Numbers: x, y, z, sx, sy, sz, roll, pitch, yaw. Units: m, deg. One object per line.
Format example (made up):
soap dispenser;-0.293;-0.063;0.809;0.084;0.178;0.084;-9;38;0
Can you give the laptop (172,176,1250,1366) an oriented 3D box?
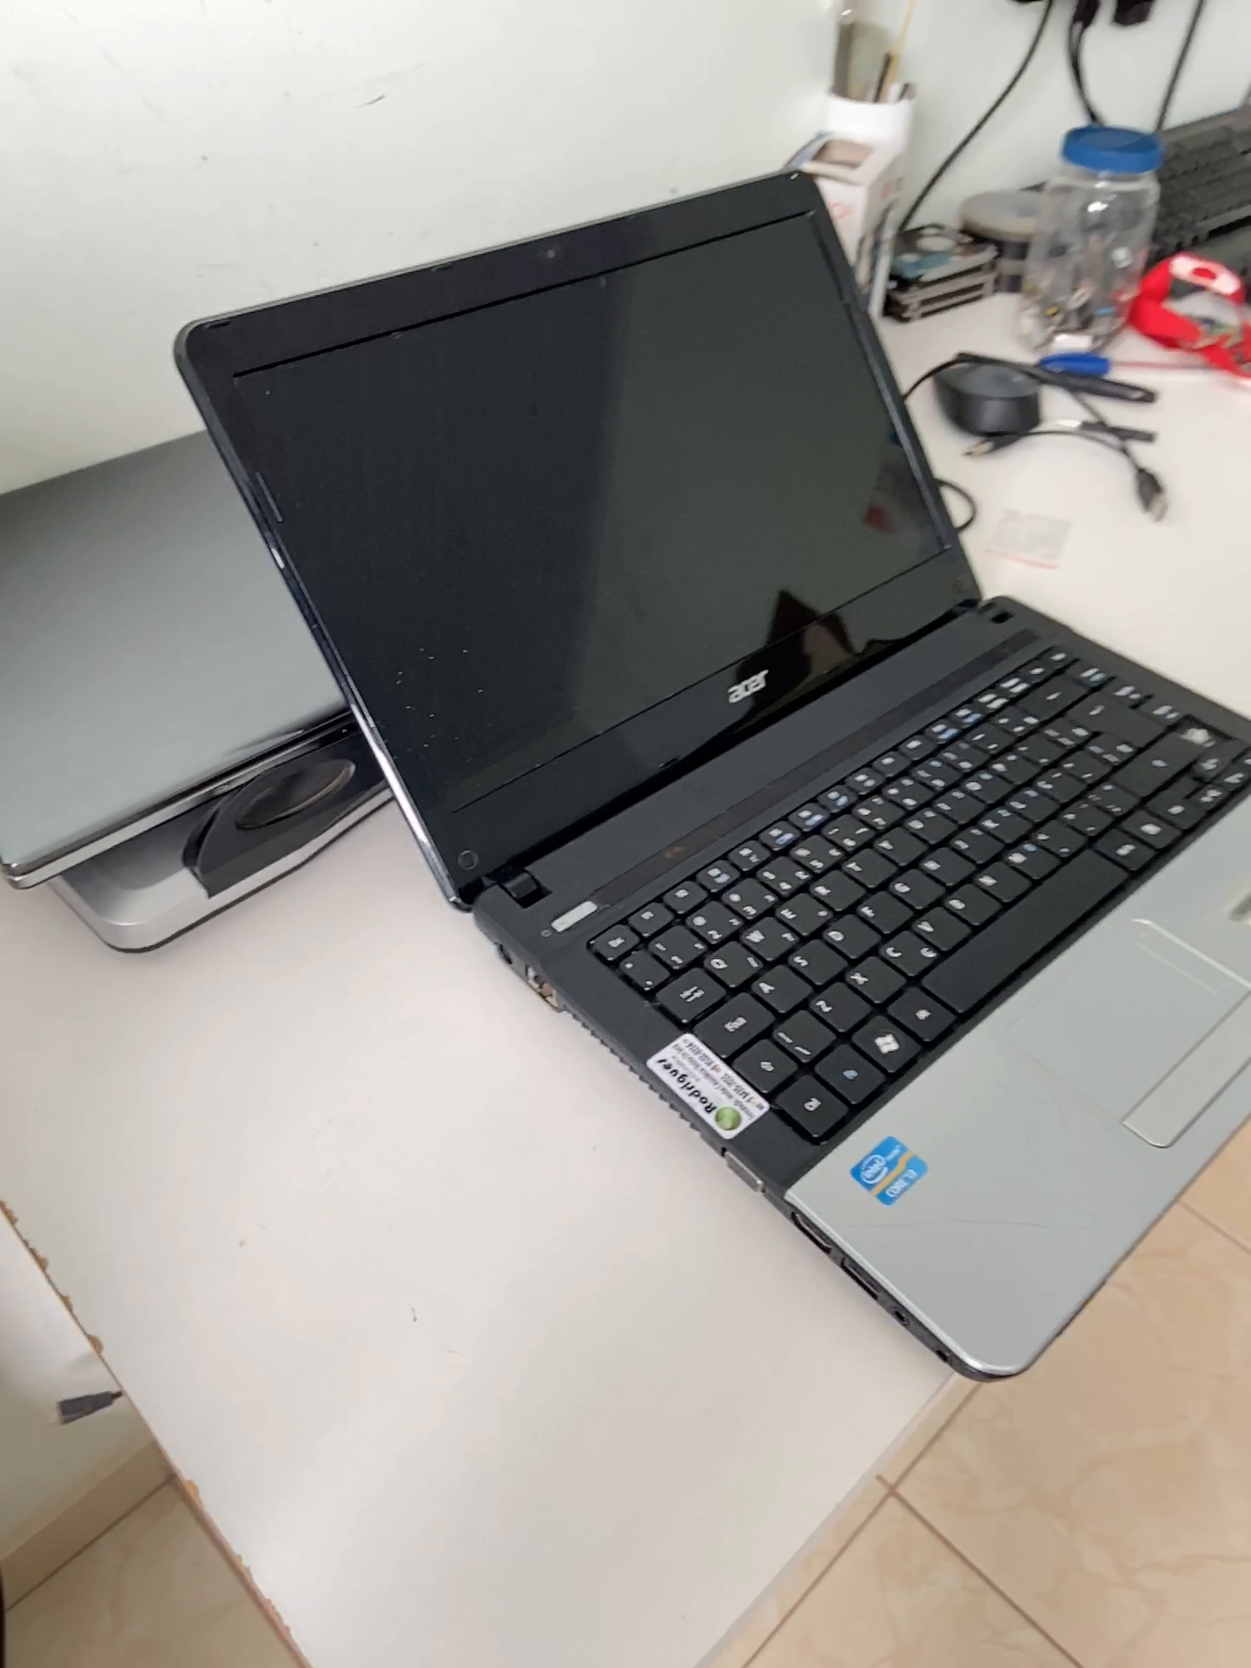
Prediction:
laptop;0.093;-0.088;0.490;0.333;0.163;0.396;-30;51;-31
